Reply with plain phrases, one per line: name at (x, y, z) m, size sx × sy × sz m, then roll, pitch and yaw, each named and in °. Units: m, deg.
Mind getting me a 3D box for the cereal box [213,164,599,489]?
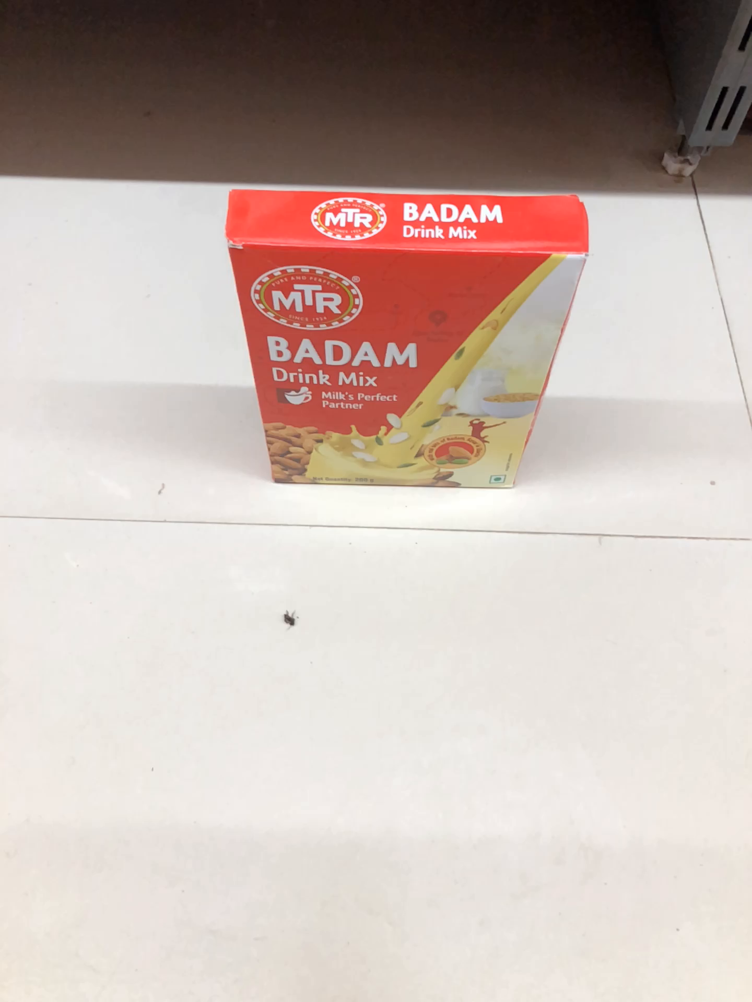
cereal box at (0.010, -0.064, 0.359) m, size 0.130 × 0.159 × 0.040 m, roll 0°, pitch 60°, yaw 0°
